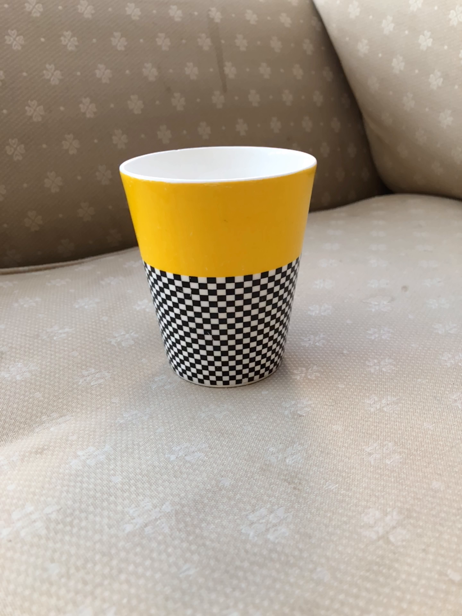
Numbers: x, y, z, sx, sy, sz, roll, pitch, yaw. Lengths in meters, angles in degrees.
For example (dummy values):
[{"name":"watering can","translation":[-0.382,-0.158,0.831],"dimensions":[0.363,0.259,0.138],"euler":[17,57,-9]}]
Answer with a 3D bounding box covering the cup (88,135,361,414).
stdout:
[{"name":"cup","translation":[-0.010,-0.028,0.254],"dimensions":[0.087,0.090,0.112],"euler":[-13,28,-21]}]
